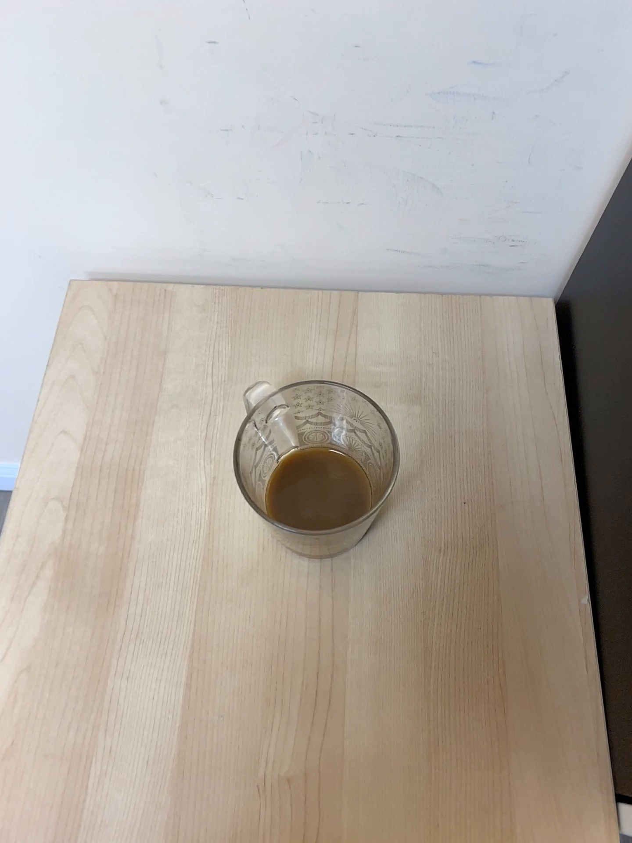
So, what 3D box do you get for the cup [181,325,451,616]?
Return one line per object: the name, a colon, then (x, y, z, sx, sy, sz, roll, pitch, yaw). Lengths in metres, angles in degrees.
cup: (-0.002, 0.033, 0.409, 0.099, 0.098, 0.125, -33, 68, -15)
